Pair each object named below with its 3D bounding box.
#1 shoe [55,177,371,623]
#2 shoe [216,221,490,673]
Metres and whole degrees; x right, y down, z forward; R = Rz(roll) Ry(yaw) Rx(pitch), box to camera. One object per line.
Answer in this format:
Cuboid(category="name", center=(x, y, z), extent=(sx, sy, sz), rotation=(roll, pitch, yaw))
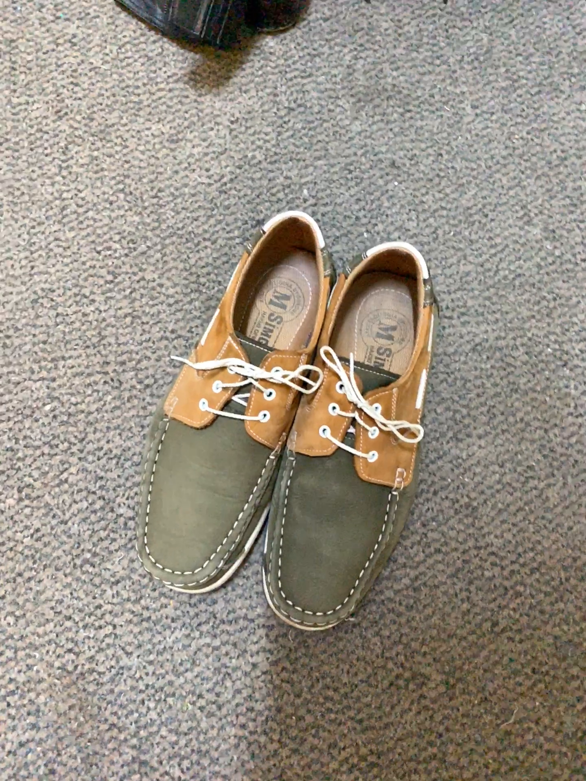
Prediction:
Cuboid(category="shoe", center=(-0.045, 0.009, 0.445), extent=(0.107, 0.130, 0.270), rotation=(20, 76, 4))
Cuboid(category="shoe", center=(0.043, 0.038, 0.445), extent=(0.107, 0.130, 0.270), rotation=(16, 76, 3))
